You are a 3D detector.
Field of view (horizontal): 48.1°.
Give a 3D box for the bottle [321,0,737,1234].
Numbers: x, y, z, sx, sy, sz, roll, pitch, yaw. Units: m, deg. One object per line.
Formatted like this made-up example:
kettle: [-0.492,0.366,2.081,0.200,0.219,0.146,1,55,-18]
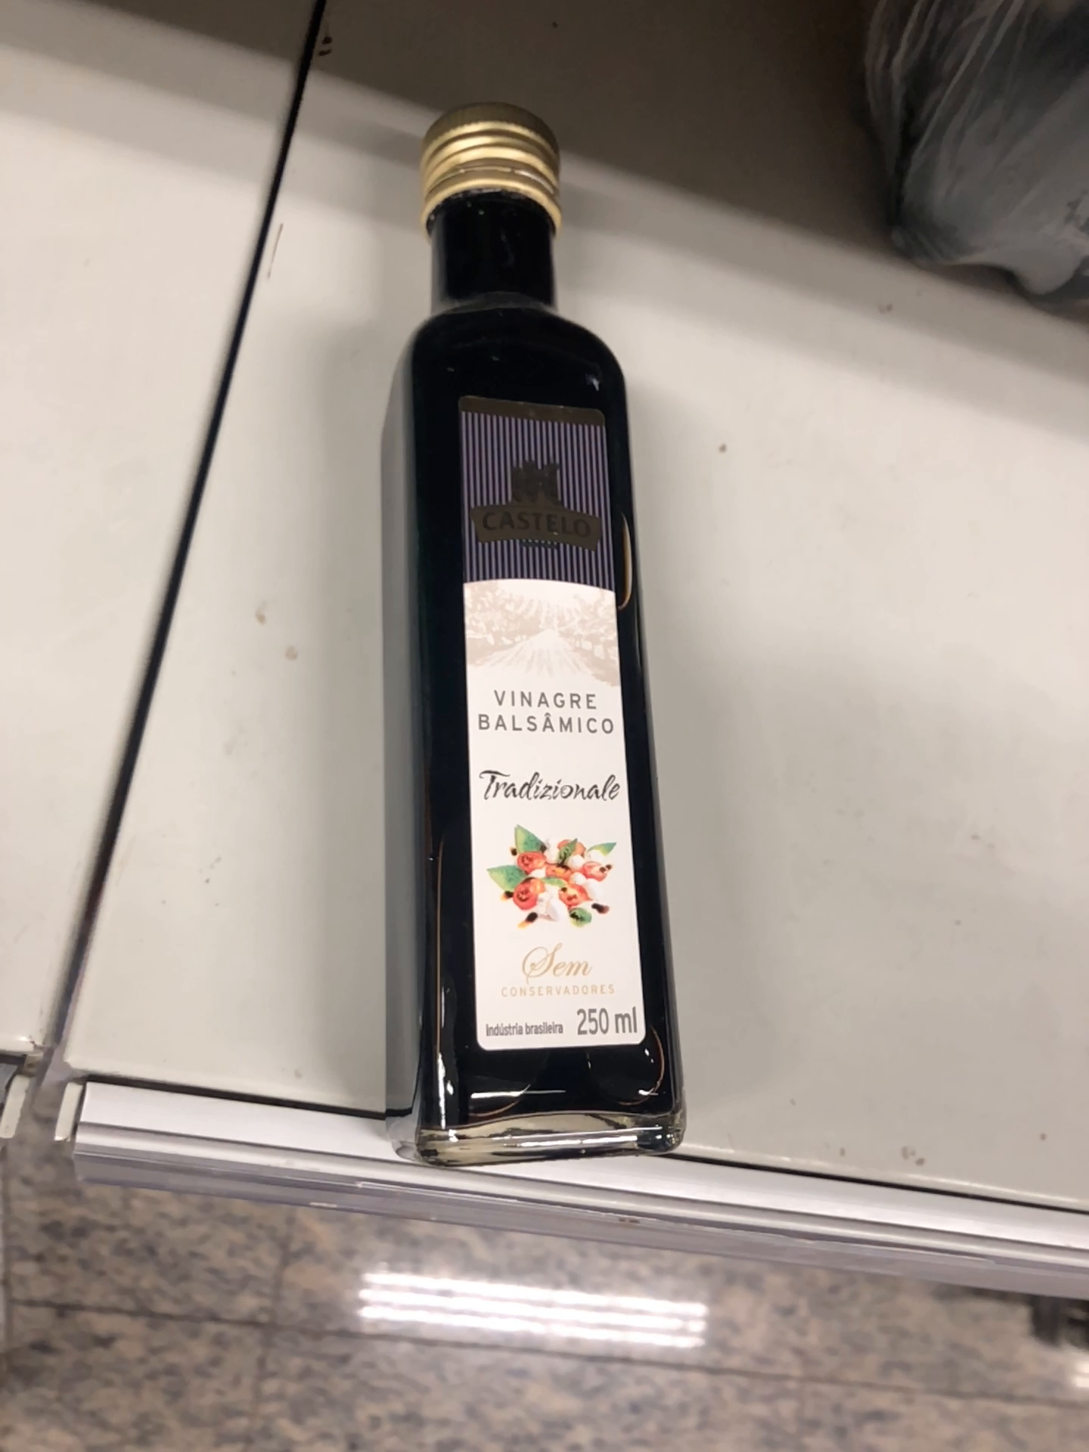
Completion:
bottle: [-0.012,-0.037,0.251,0.060,0.060,0.250,1,75,-16]
